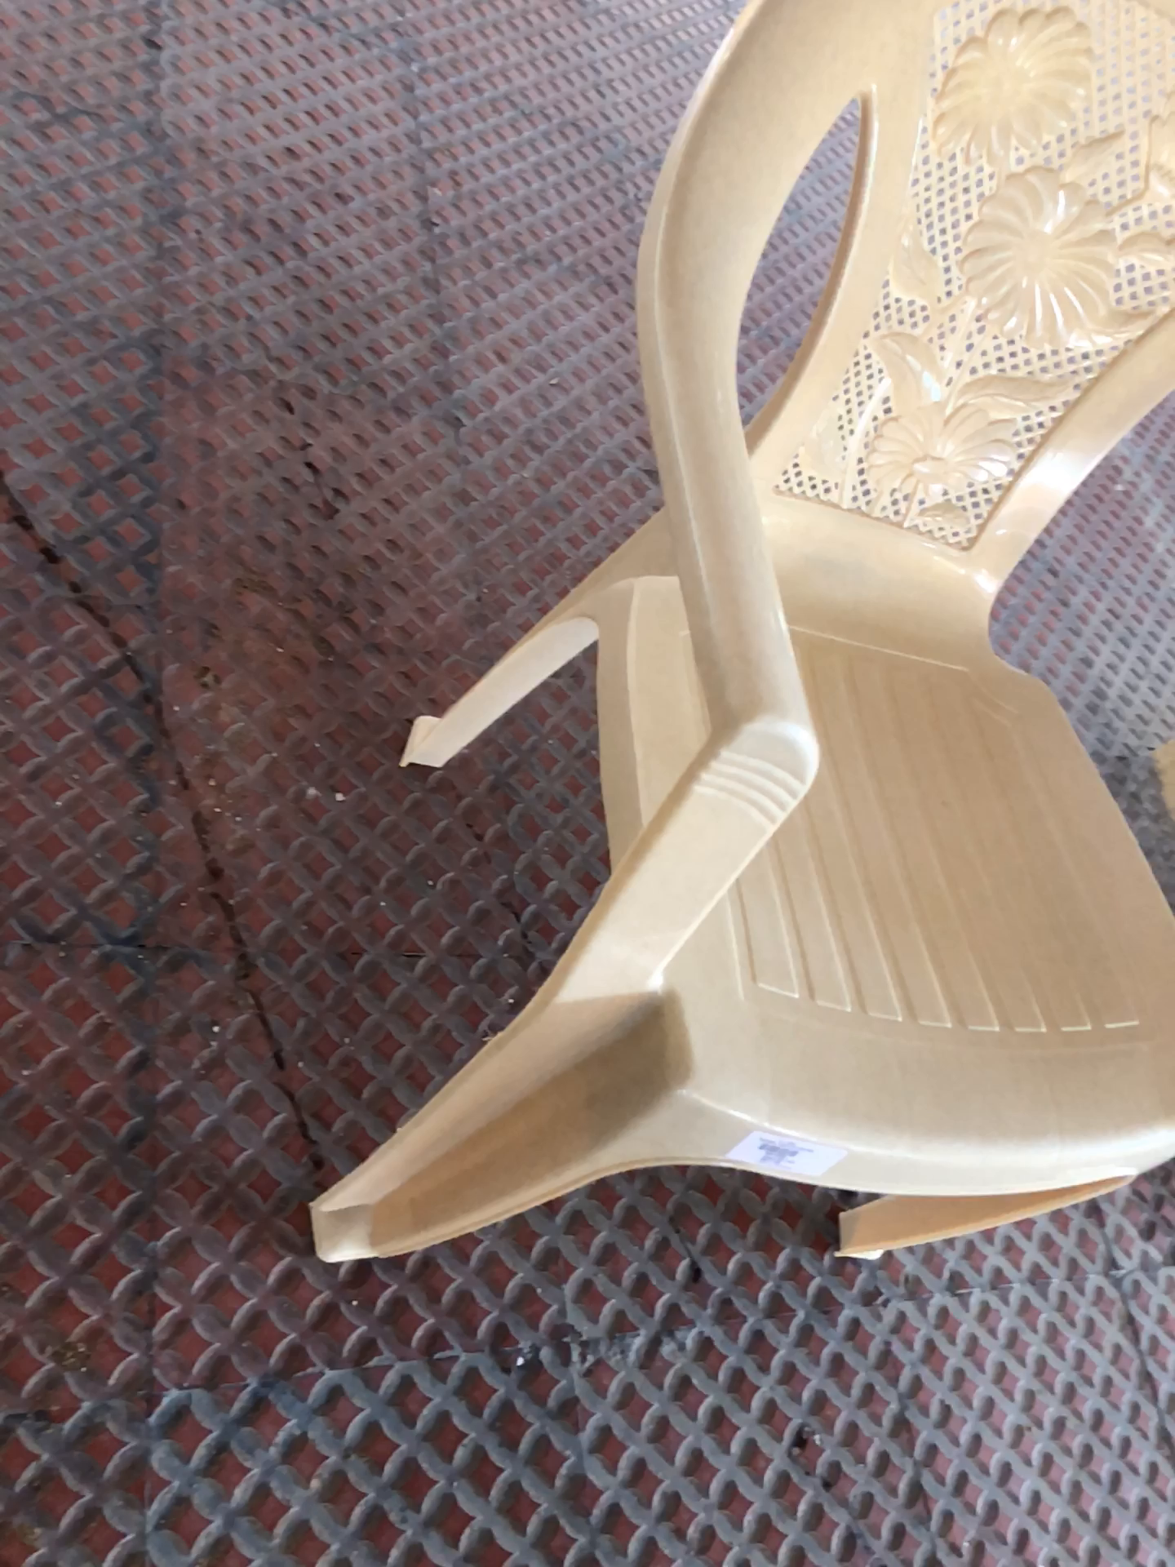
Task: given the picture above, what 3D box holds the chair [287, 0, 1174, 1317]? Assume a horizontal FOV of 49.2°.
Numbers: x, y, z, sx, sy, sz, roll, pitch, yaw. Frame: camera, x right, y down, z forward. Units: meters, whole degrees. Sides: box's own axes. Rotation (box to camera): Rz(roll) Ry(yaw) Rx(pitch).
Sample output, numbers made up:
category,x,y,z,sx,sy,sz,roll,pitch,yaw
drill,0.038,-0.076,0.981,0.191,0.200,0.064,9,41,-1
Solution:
category,x,y,z,sx,sy,sz,roll,pitch,yaw
chair,0.187,-0.051,0.841,0.532,0.804,0.612,10,57,-27
